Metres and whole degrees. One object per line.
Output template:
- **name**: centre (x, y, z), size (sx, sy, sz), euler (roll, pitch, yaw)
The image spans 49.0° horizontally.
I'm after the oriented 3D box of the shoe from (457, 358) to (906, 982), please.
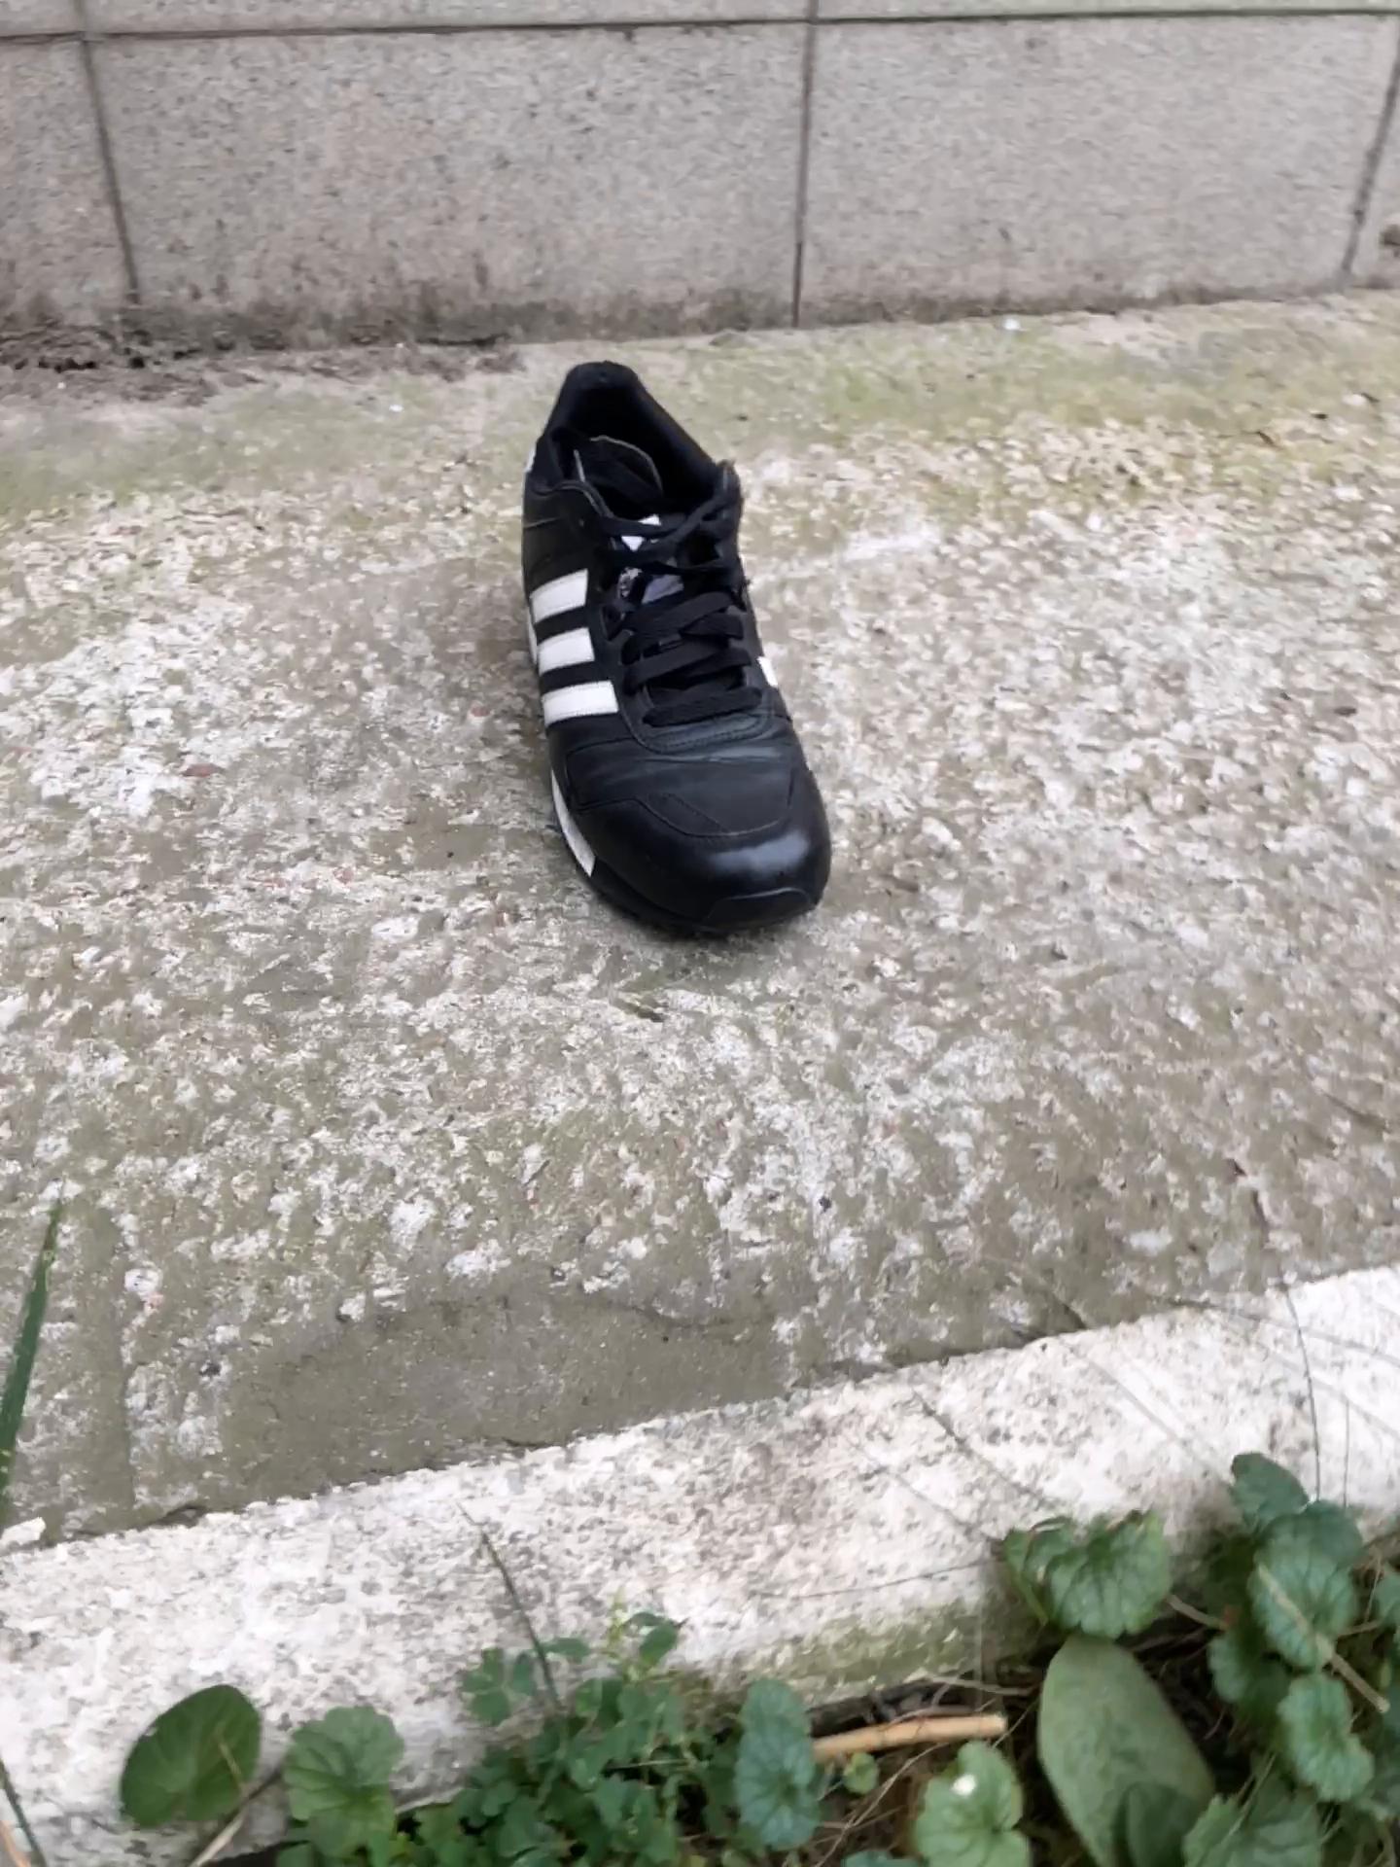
- **shoe**: centre (-0.022, -0.124, 0.631), size (0.100, 0.119, 0.282), euler (-9, 41, -14)
